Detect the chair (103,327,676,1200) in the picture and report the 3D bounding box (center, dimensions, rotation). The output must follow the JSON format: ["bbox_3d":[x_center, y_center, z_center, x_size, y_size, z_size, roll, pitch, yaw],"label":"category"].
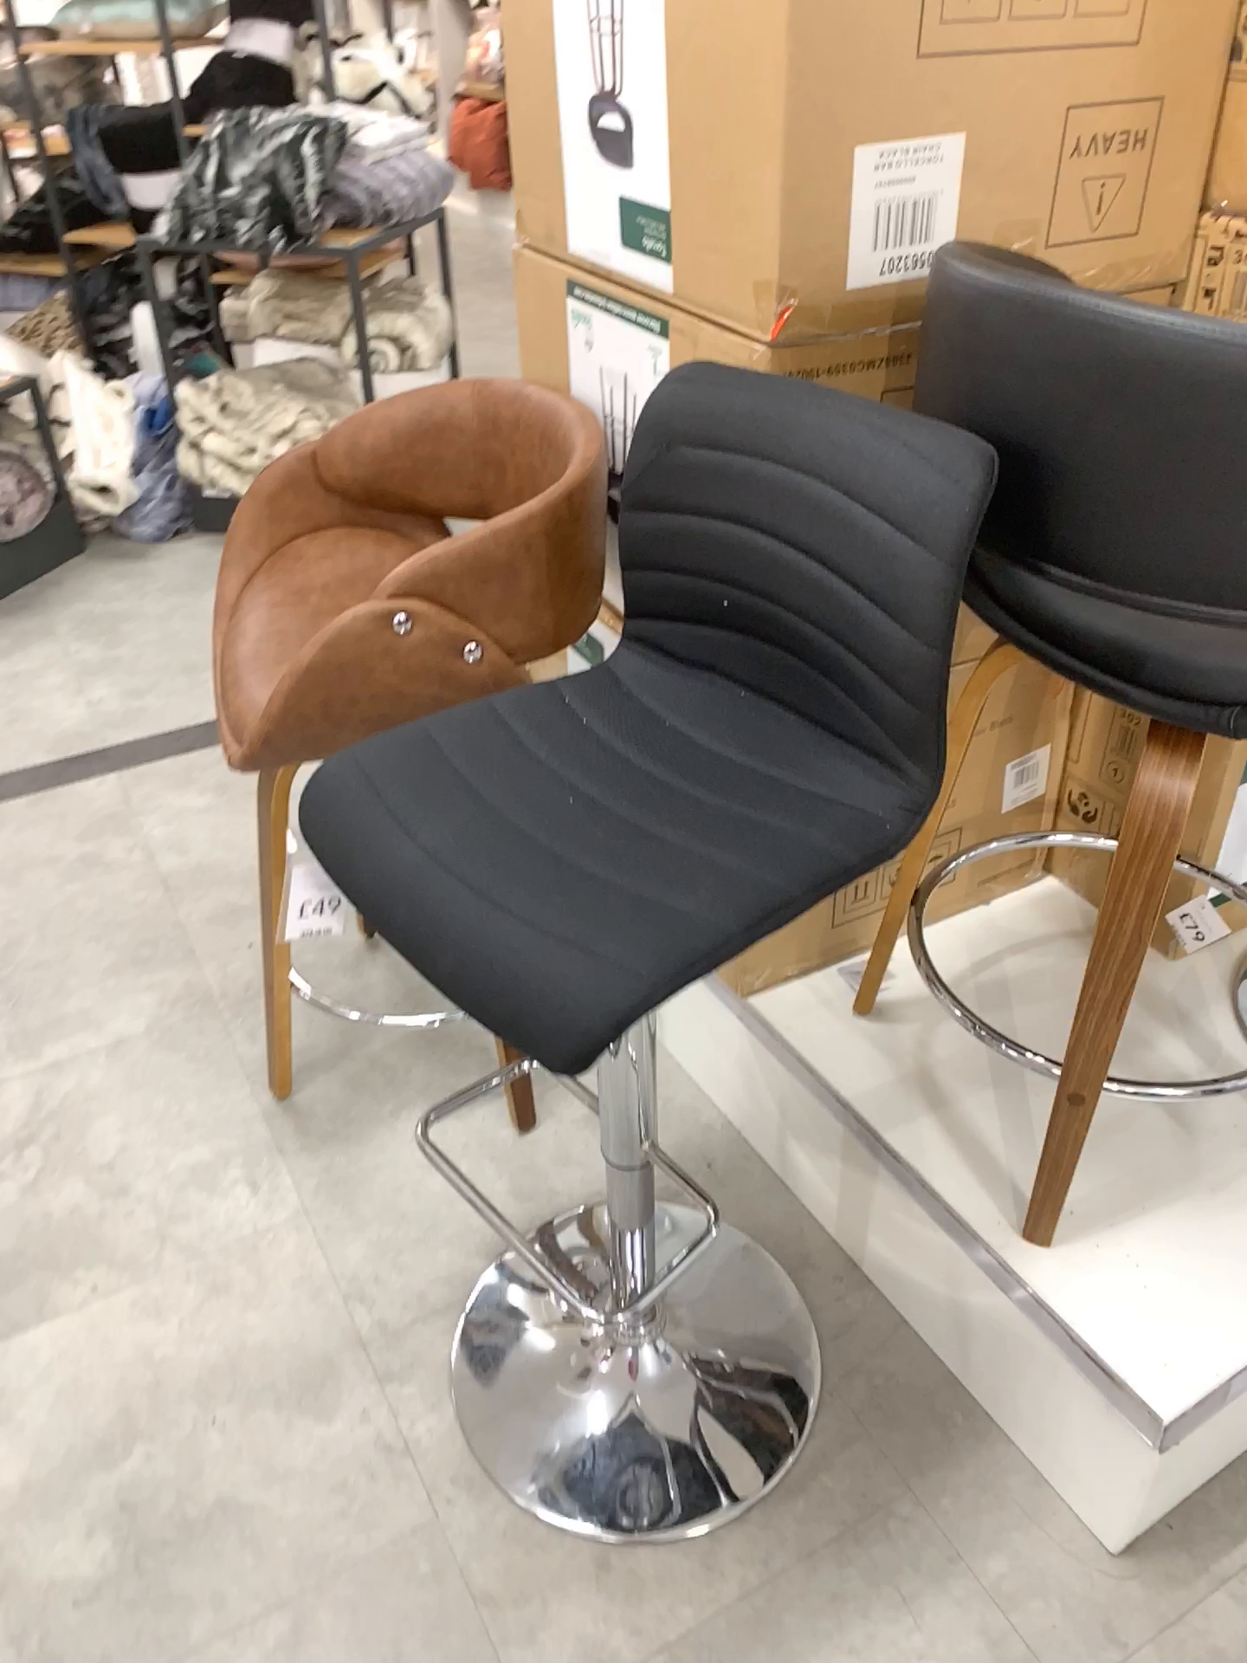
[{"bbox_3d":[-0.269,-0.094,1.600,0.518,0.875,0.528,-10,35,-14],"label":"chair"}]

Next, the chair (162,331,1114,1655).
[{"bbox_3d":[0.009,0.150,1.146,0.470,0.994,0.456,-26,41,-32],"label":"chair"}]
